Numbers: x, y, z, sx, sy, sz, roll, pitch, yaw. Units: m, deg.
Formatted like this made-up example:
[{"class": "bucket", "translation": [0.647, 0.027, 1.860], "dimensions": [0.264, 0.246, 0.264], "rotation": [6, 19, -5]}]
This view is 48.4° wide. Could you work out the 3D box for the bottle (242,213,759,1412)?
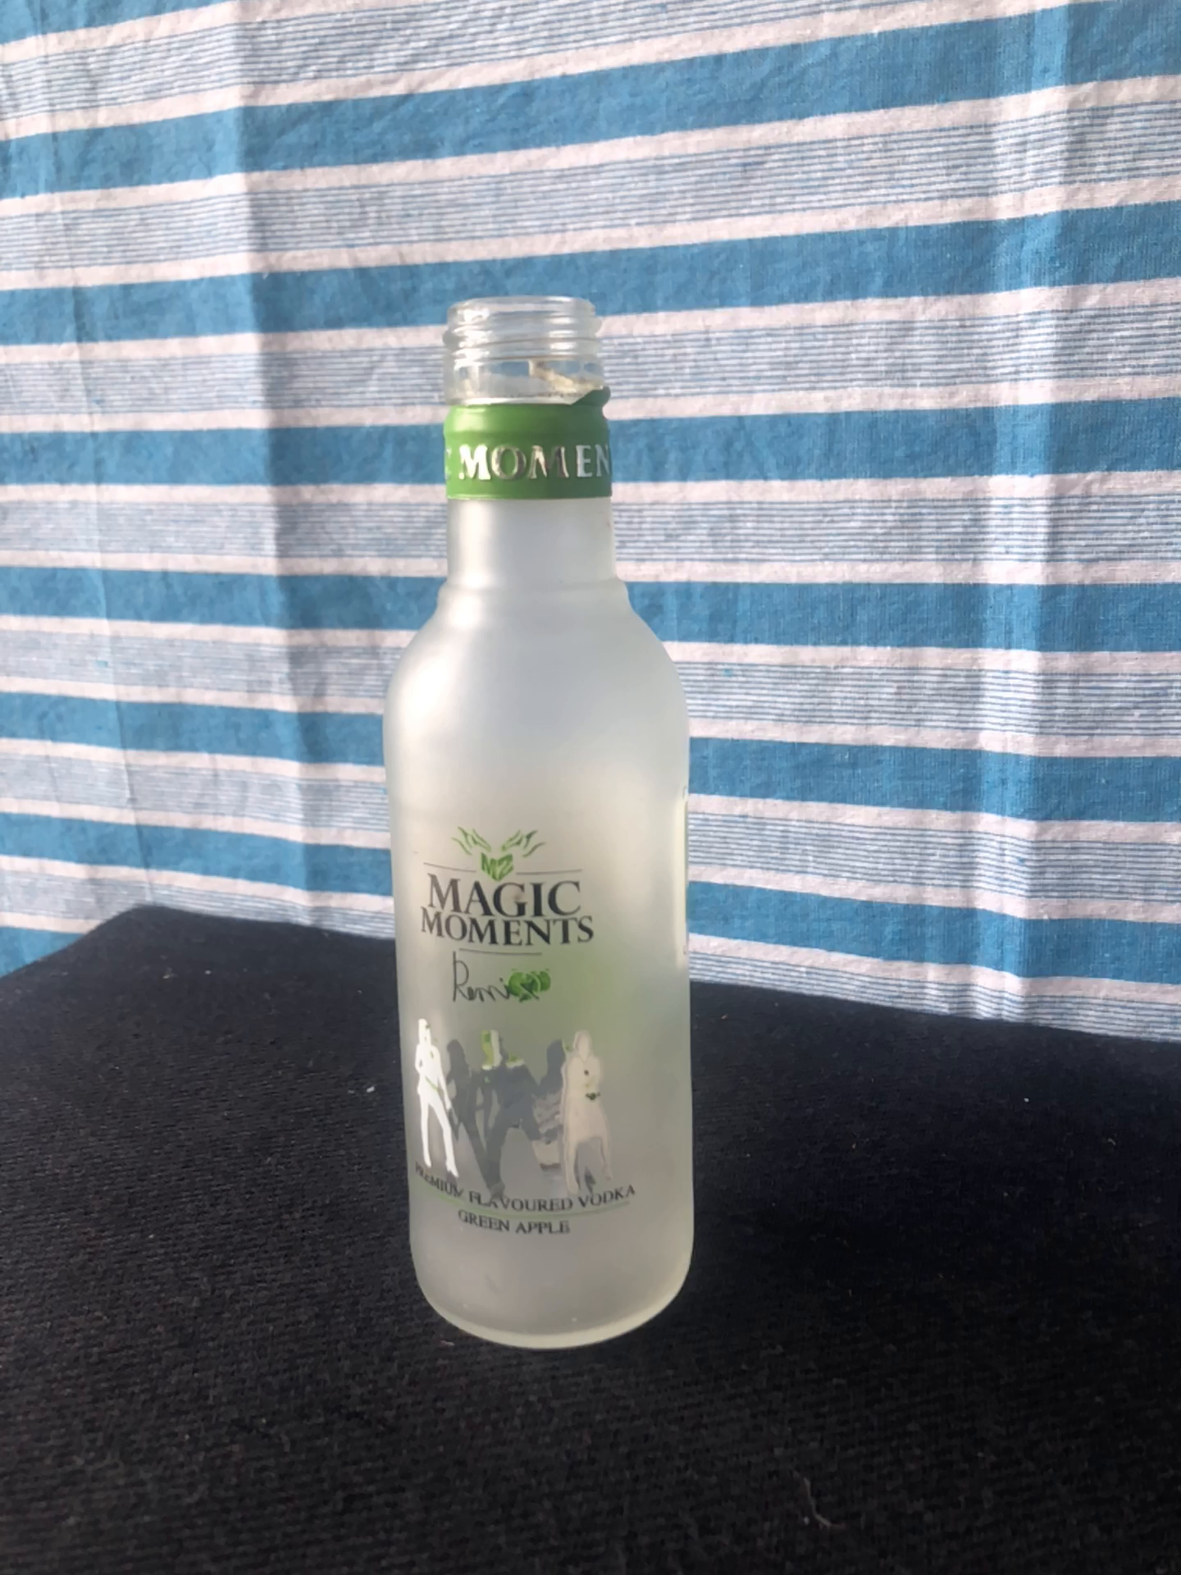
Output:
[{"class": "bottle", "translation": [-0.007, 0.003, 0.187], "dimensions": [0.050, 0.149, 0.050], "rotation": [-1, 16, 0]}]
